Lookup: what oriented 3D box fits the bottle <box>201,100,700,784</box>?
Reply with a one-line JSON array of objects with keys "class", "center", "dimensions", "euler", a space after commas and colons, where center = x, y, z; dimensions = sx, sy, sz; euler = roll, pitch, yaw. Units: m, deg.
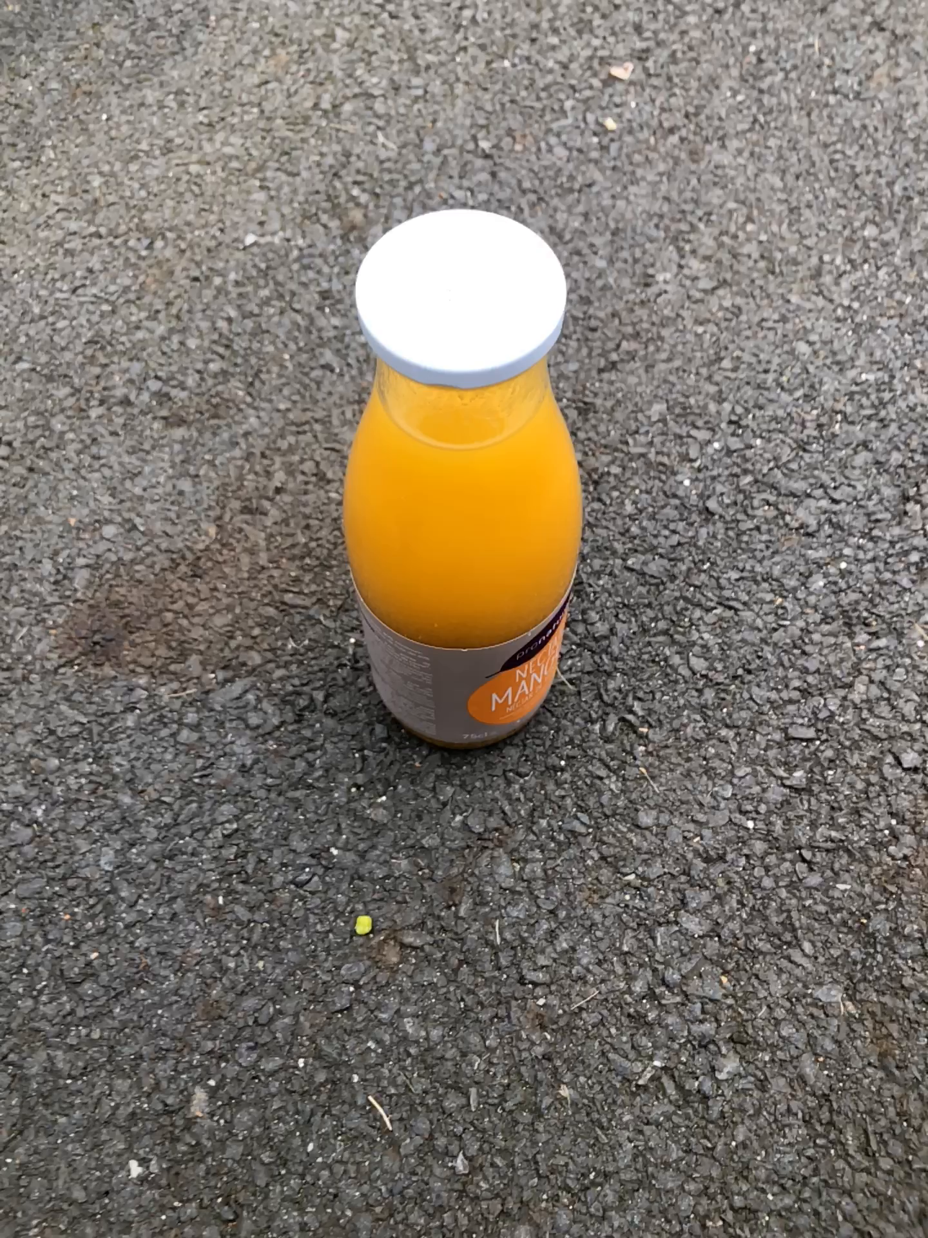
[{"class": "bottle", "center": [-0.001, -0.034, 0.327], "dimensions": [0.080, 0.209, 0.080], "euler": [0, 64, 1]}]
